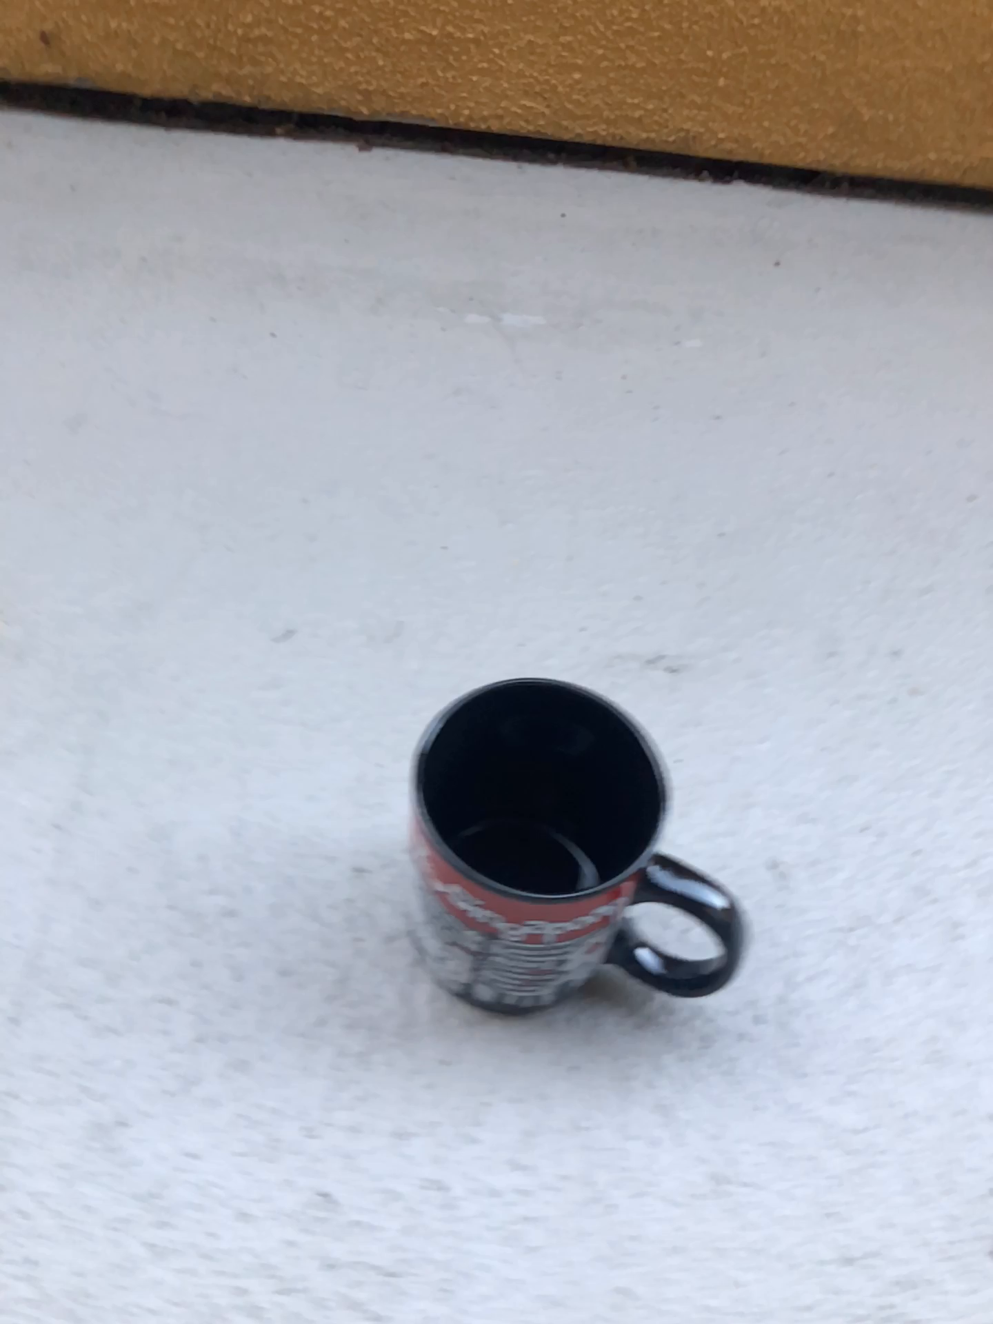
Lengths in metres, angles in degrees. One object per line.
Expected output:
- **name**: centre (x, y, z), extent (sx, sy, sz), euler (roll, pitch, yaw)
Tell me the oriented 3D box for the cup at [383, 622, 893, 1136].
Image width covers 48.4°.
- **cup**: centre (0.039, 0.074, 0.371), extent (0.130, 0.110, 0.080), euler (26, 55, 12)
